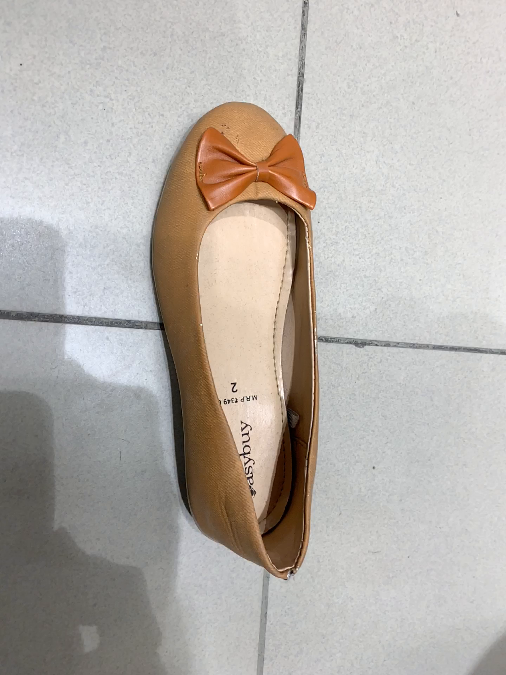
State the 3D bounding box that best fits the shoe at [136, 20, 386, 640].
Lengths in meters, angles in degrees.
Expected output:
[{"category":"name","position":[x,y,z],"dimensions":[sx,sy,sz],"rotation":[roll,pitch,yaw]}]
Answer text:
[{"category":"shoe","position":[-0.001,-0.001,0.234],"dimensions":[0.080,0.070,0.220],"rotation":[2,91,-24]}]
